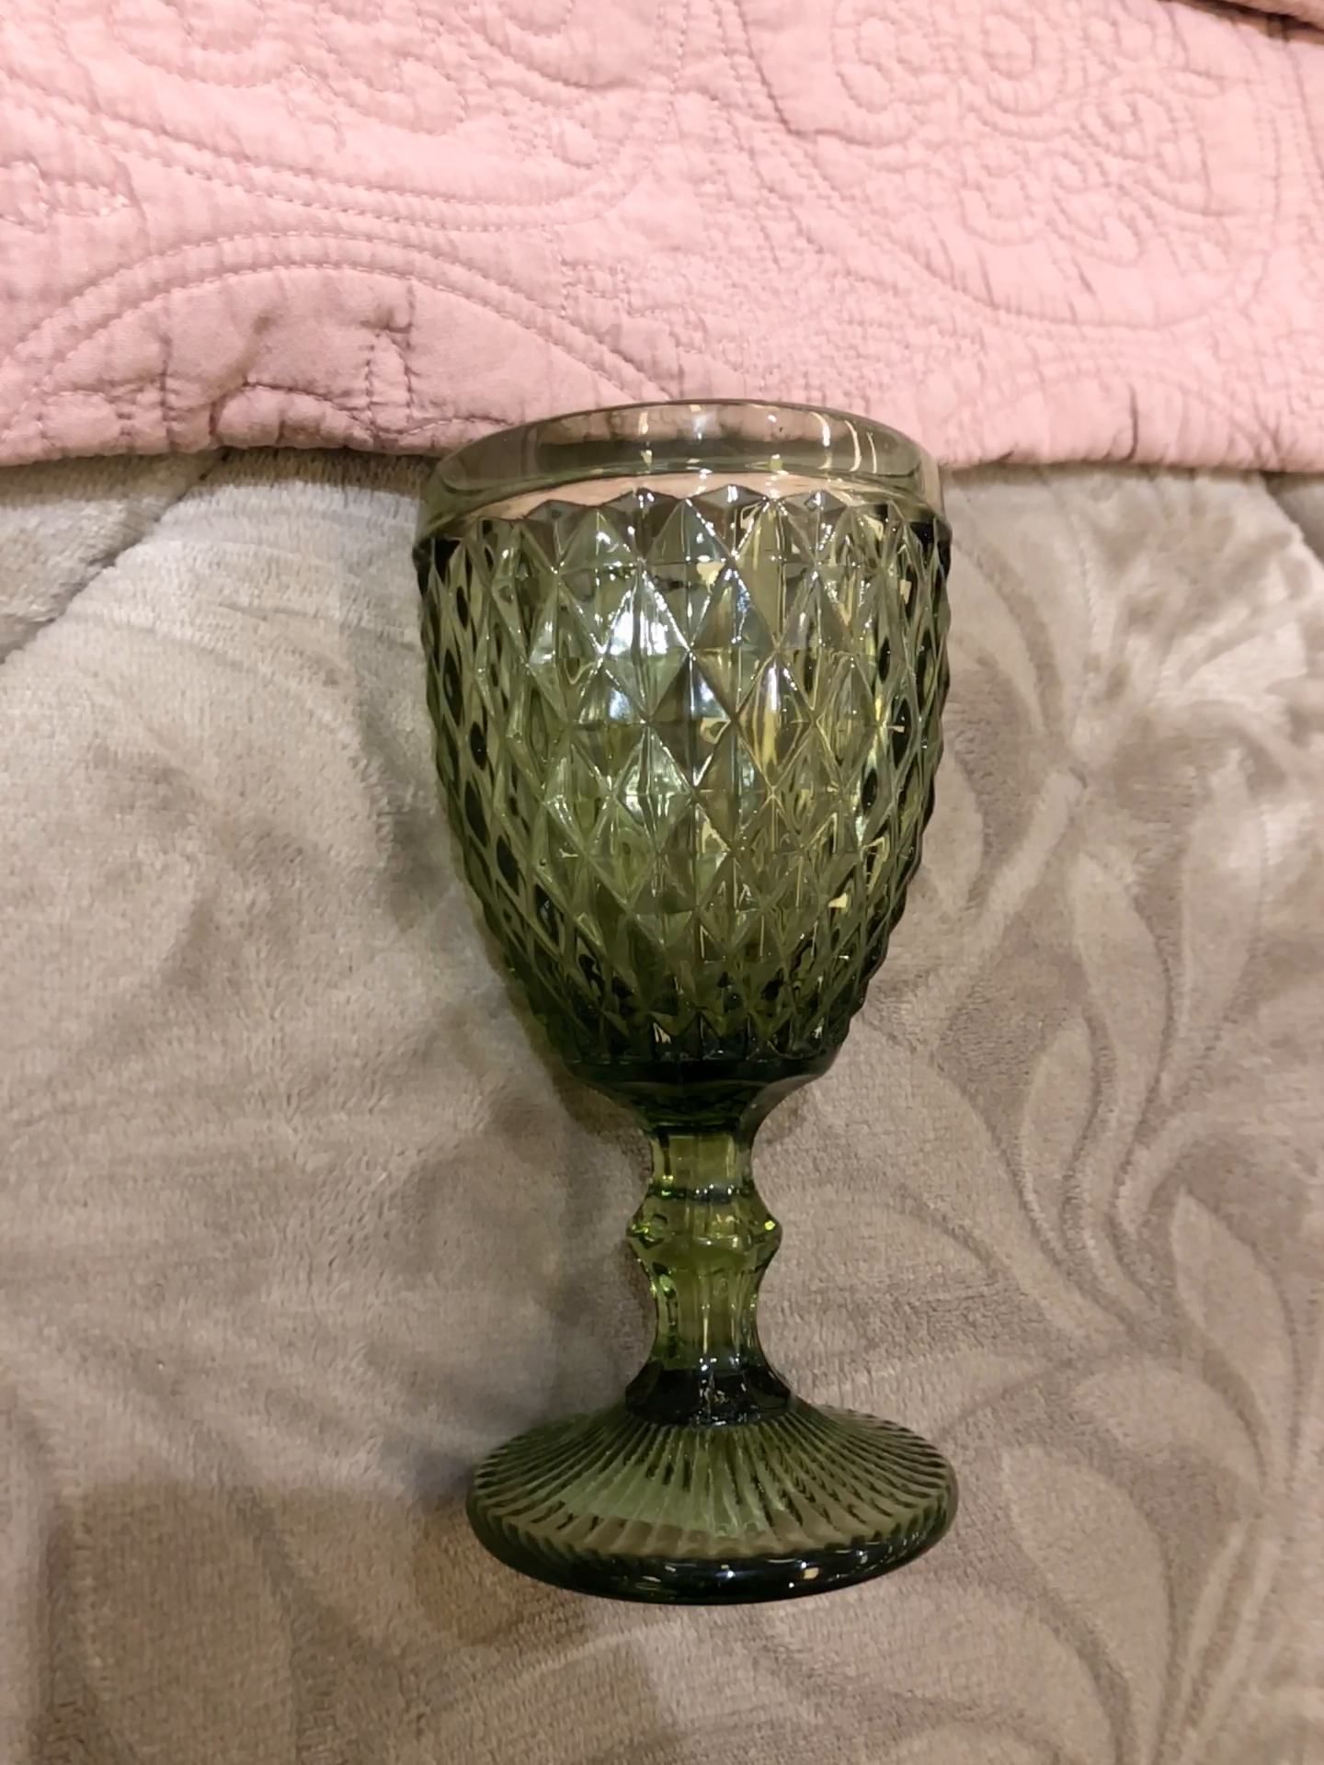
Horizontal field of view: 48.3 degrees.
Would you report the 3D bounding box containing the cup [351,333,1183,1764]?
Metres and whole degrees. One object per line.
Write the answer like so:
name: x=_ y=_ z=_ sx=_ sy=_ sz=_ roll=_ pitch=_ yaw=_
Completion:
cup: x=0.011 y=0.027 z=0.239 sx=0.090 sy=0.080 sz=0.190 roll=0 pitch=81 yaw=-31
